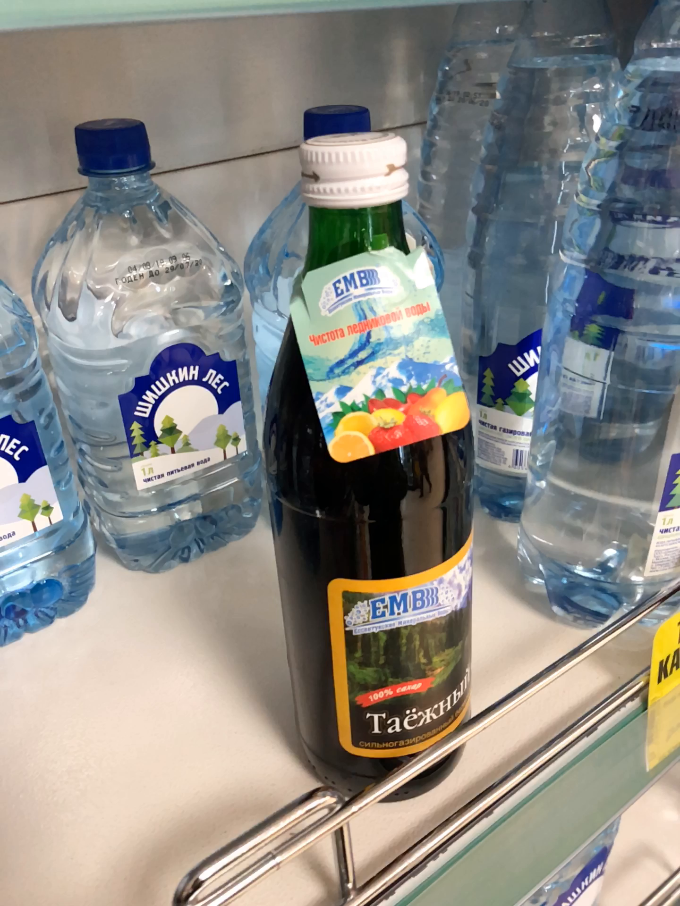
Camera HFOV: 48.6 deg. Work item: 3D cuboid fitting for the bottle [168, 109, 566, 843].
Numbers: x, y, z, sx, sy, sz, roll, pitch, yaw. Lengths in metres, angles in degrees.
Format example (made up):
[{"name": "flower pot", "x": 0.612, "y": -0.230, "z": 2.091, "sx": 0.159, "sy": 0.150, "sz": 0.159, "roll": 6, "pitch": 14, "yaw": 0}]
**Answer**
[{"name": "bottle", "x": 0.013, "y": 0.014, "z": 0.245, "sx": 0.075, "sy": 0.219, "sz": 0.068, "roll": -22, "pitch": 35, "yaw": -27}]
